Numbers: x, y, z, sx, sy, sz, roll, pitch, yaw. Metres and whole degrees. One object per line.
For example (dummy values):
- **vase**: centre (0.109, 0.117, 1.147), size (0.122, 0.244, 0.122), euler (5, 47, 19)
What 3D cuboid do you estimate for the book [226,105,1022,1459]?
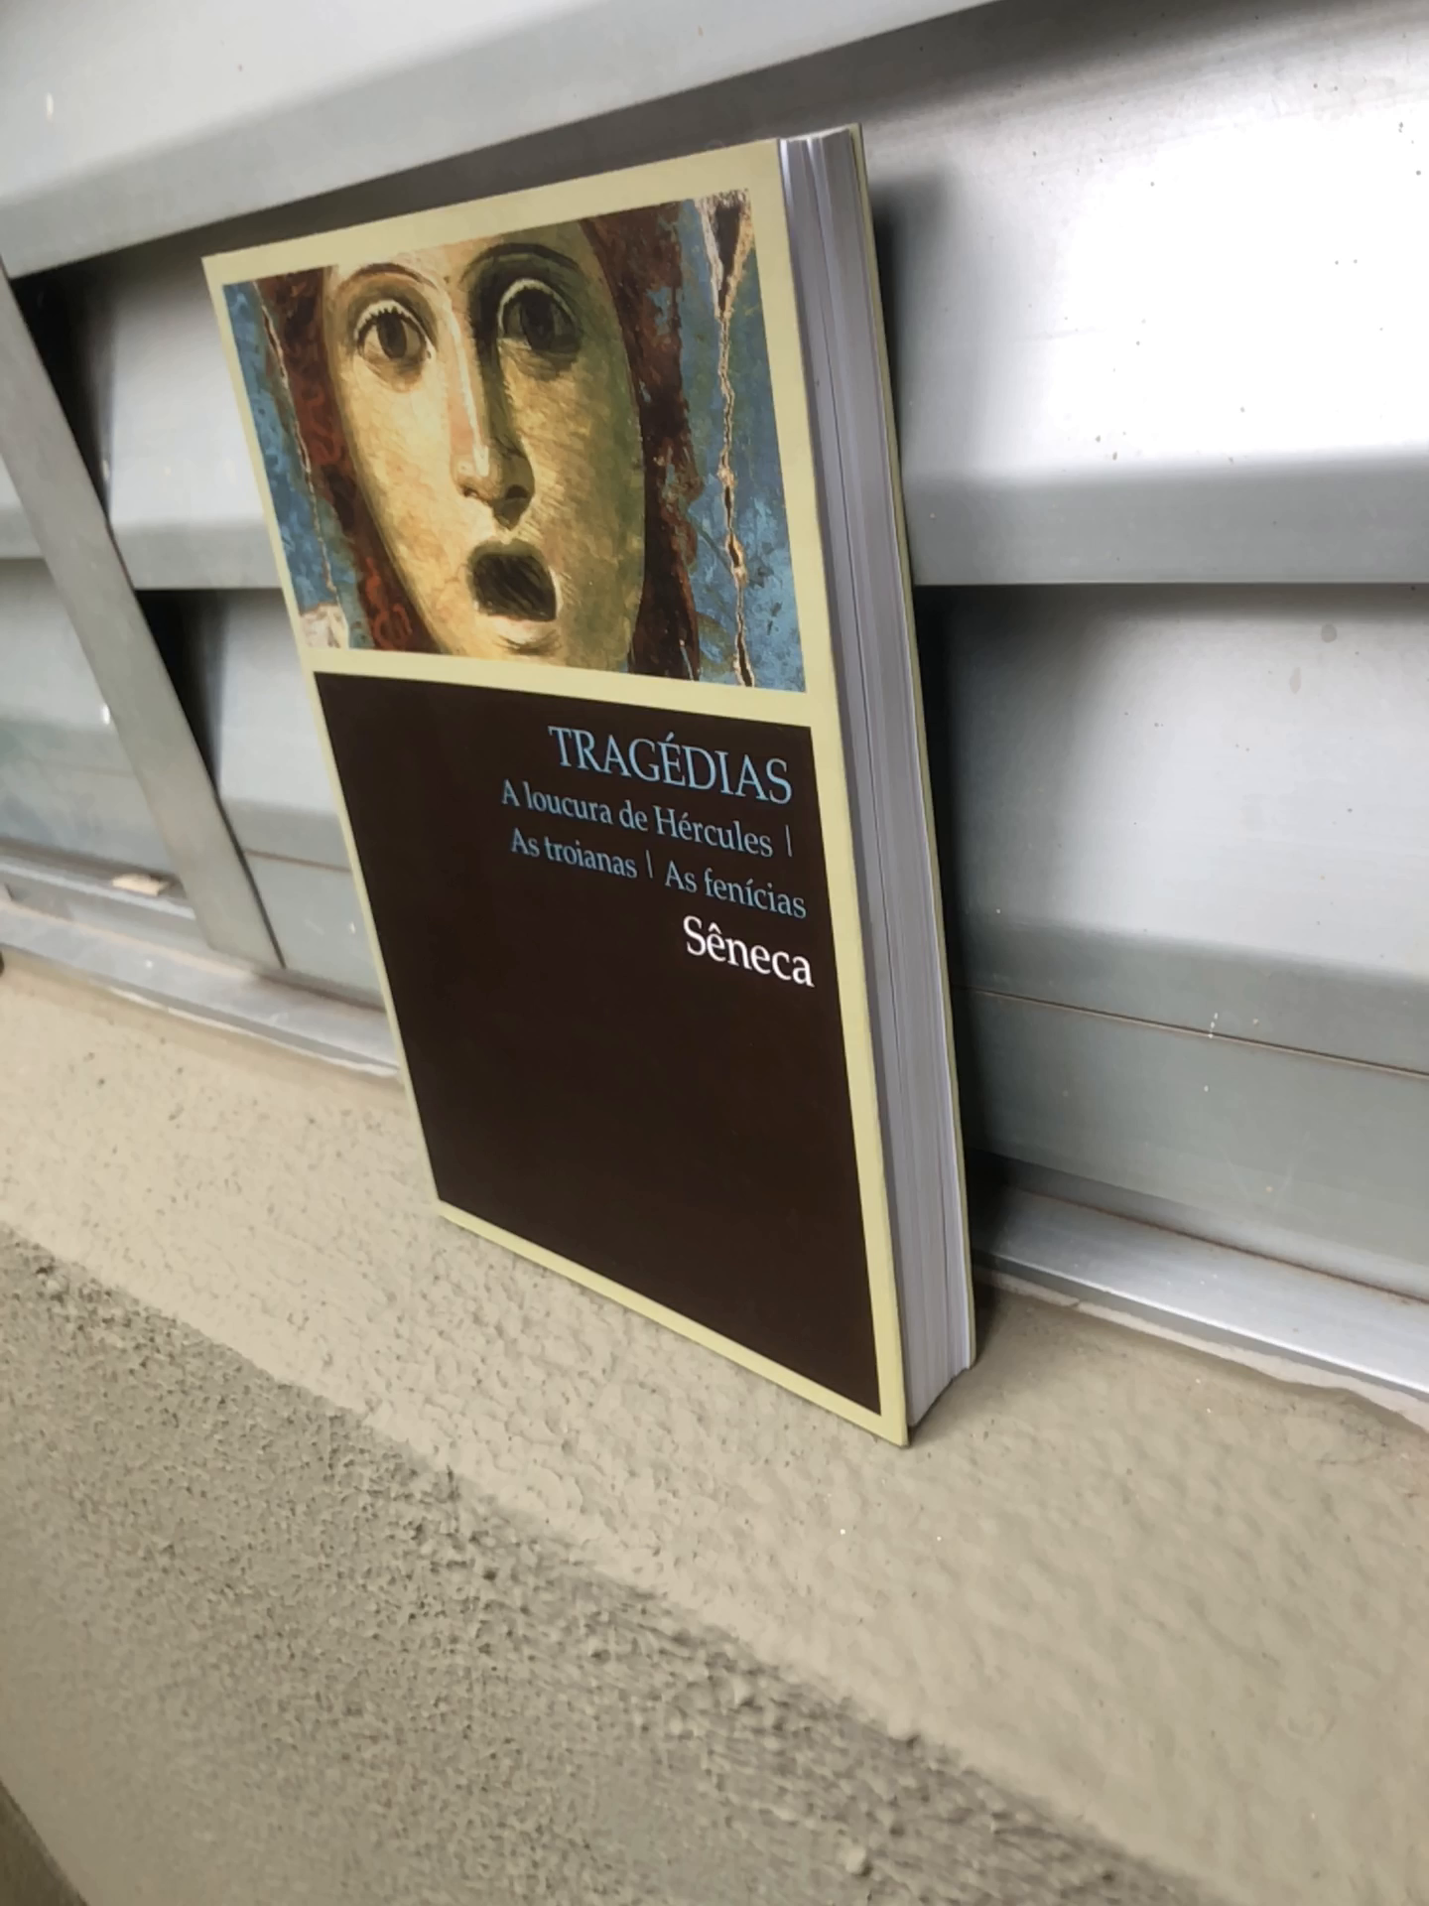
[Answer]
- **book**: centre (-0.018, -0.027, 0.283), size (0.026, 0.196, 0.145), euler (-25, 27, -37)
